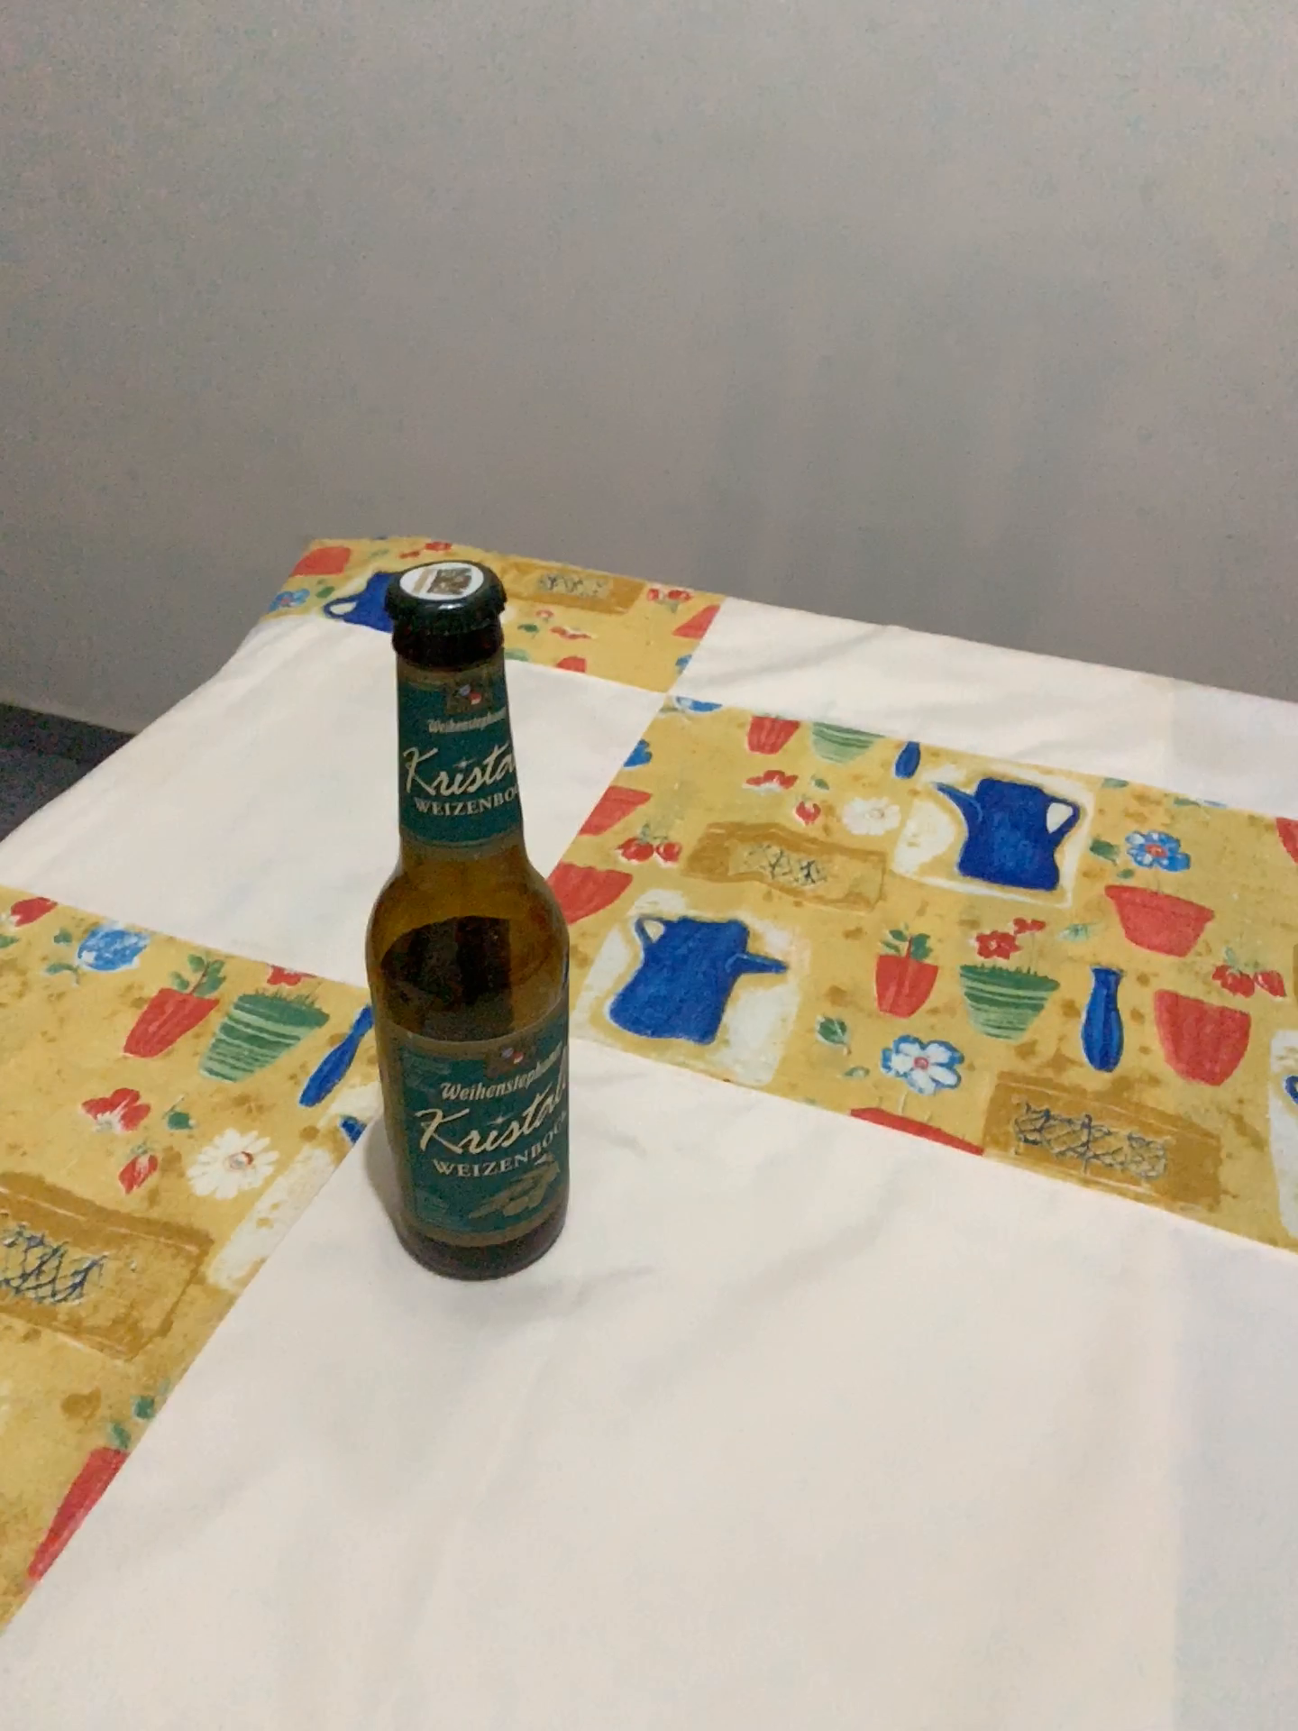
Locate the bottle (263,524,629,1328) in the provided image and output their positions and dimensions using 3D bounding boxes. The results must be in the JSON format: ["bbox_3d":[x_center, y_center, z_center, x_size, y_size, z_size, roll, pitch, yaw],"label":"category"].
[{"bbox_3d":[-0.053,0.027,0.383,0.070,0.229,0.060,-15,40,-22],"label":"bottle"}]
